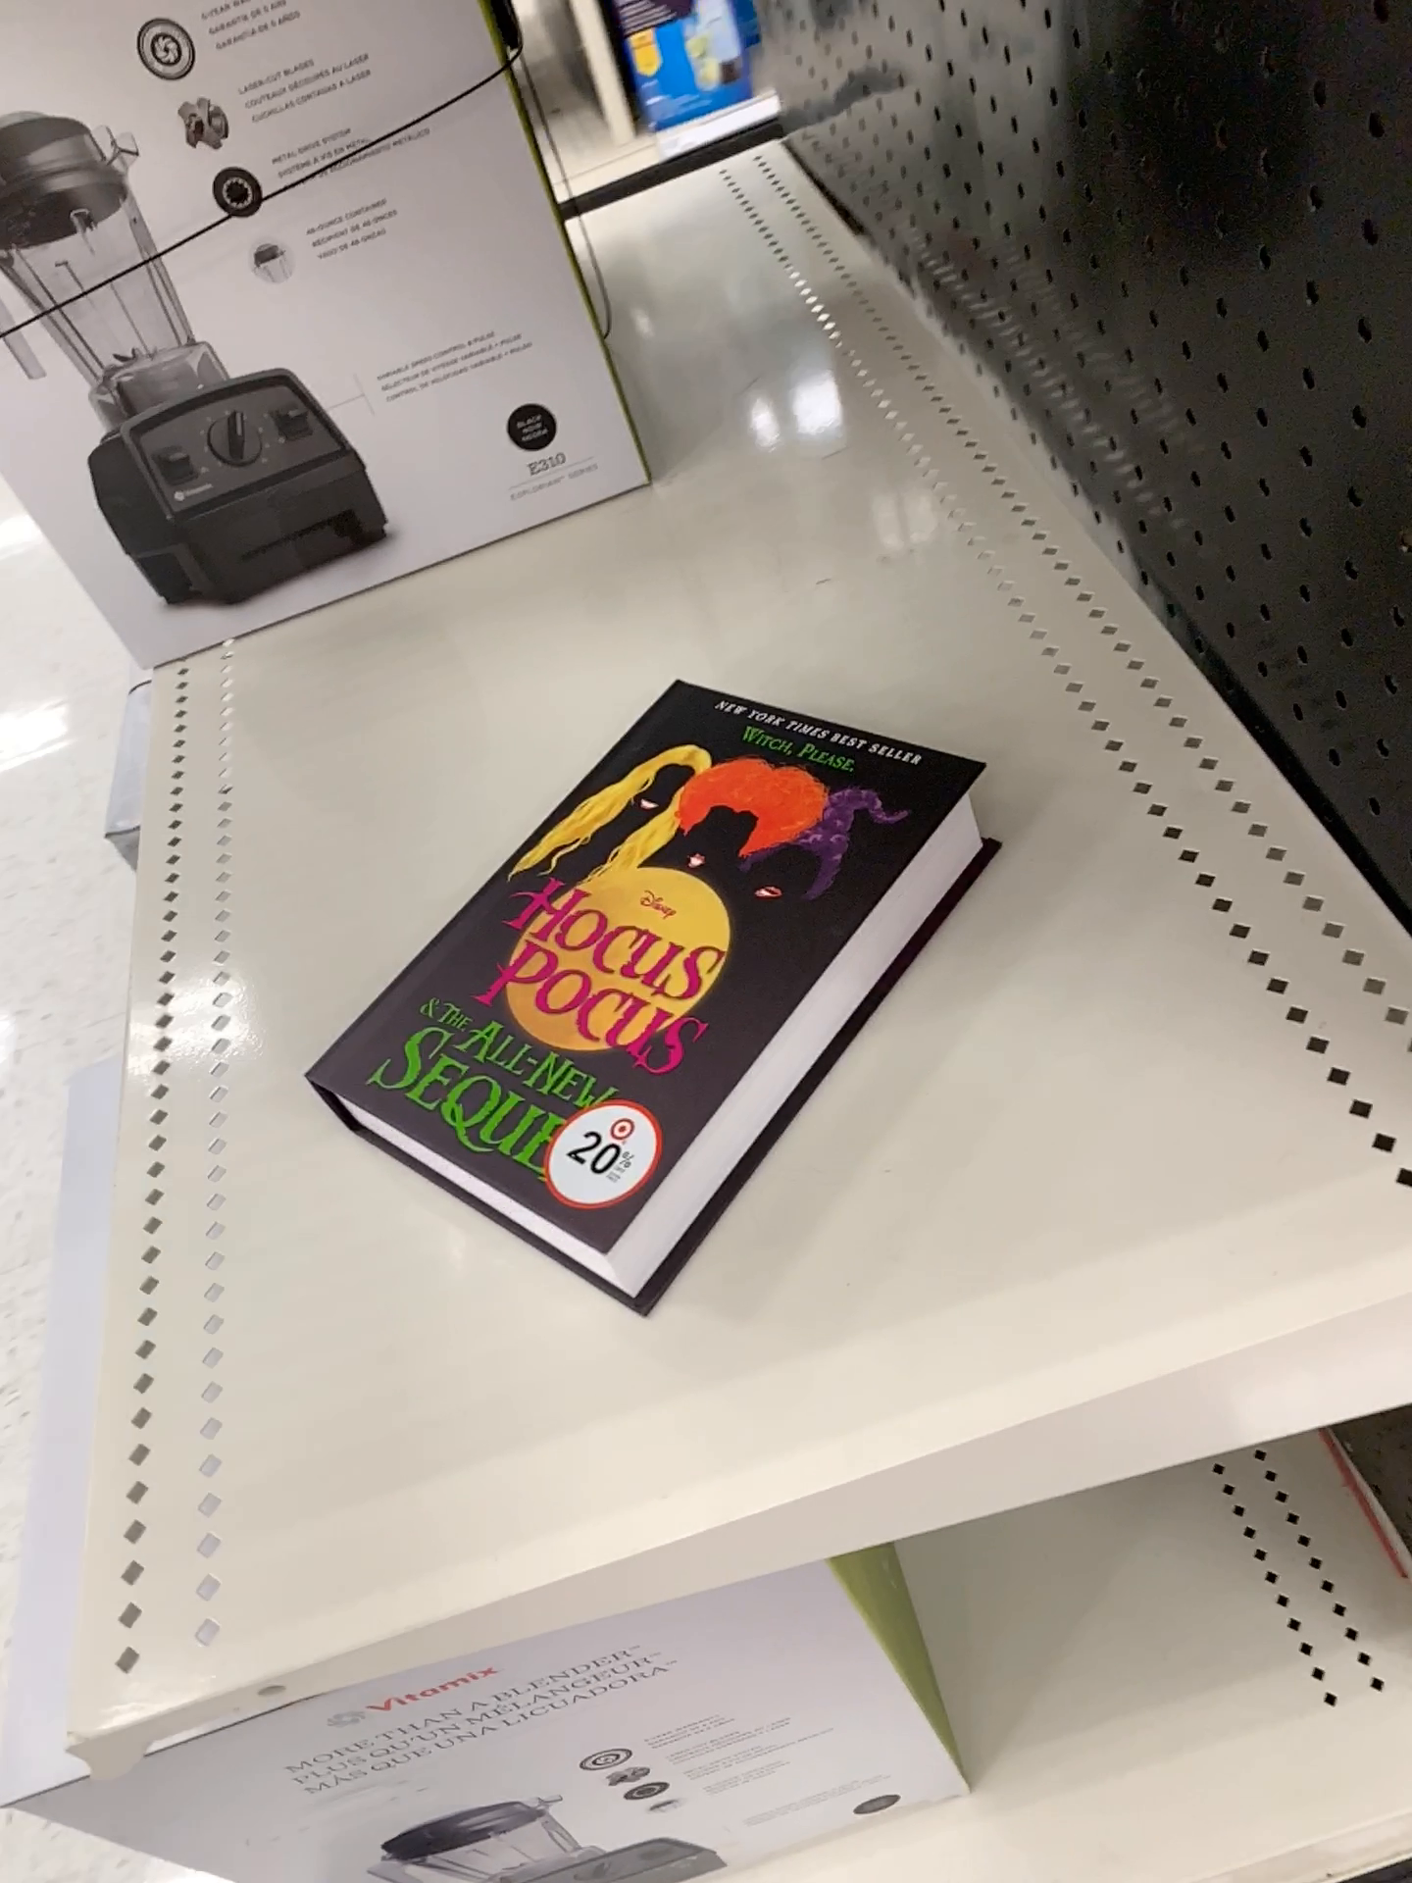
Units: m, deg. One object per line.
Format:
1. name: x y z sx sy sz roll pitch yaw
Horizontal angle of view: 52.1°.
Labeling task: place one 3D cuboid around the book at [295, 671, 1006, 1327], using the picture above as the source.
1. book: -0.015 0.005 0.510 0.149 0.050 0.209 23 61 34
